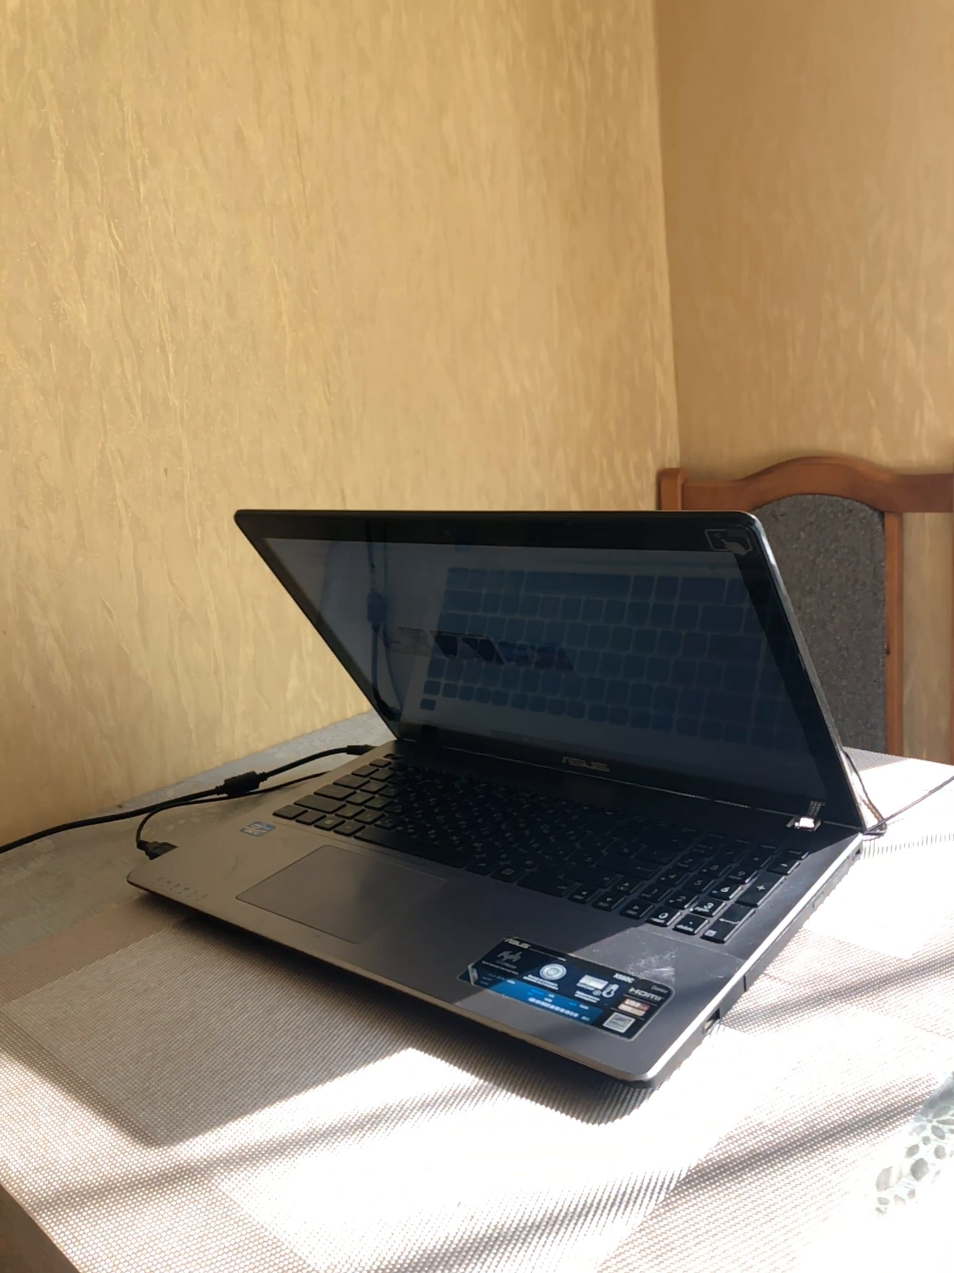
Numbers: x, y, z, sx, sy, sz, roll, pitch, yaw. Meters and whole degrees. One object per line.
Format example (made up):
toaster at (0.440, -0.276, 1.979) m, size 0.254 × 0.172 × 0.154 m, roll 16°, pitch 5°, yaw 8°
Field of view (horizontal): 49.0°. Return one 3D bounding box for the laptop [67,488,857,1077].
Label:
laptop at (-0.012, 0.034, 0.605) m, size 0.369 × 0.197 × 0.243 m, roll 6°, pitch 18°, yaw 40°
